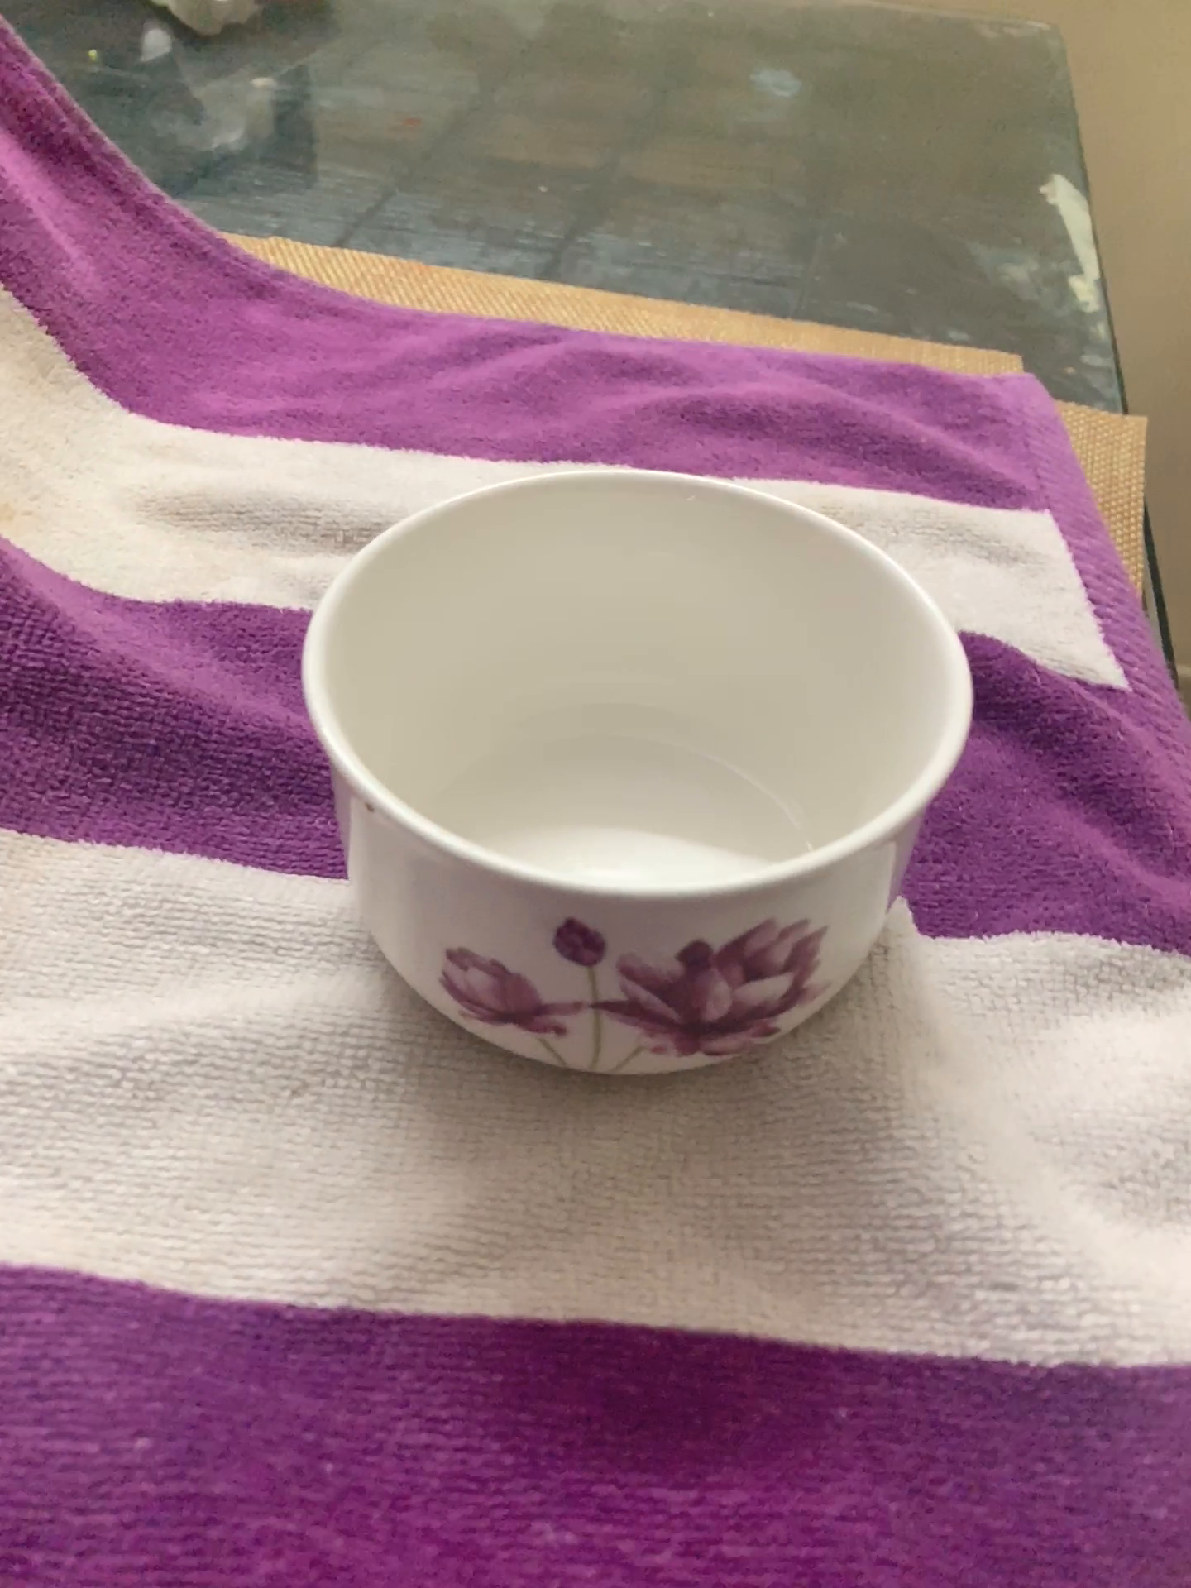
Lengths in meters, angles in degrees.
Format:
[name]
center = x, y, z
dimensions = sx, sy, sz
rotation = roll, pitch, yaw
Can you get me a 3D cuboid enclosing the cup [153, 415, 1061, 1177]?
[cup]
center = 0.001, -0.006, 0.193
dimensions = 0.100, 0.050, 0.111
rotation = 3, 45, -2
